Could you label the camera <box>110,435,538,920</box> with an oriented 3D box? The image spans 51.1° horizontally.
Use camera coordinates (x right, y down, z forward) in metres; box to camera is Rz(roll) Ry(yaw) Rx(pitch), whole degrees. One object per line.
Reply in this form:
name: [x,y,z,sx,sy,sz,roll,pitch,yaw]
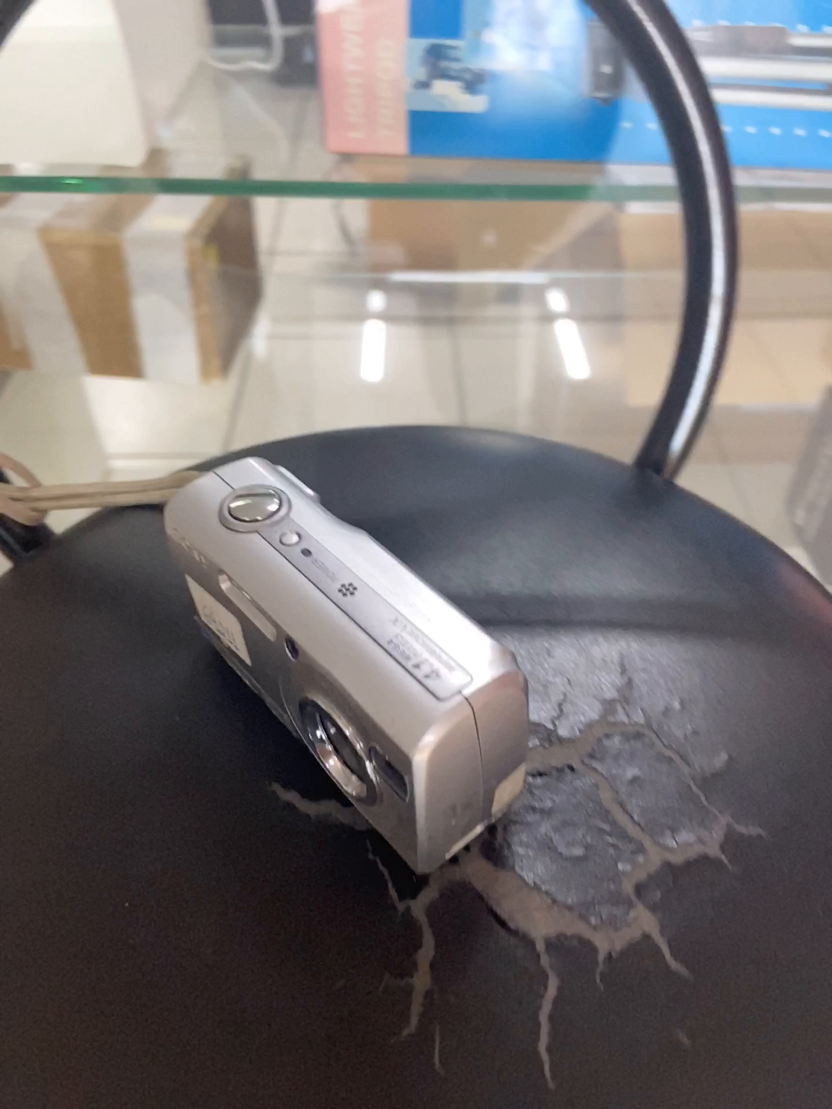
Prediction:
camera: [-0.024,0.023,0.201,0.040,0.050,0.100,-29,50,-29]
